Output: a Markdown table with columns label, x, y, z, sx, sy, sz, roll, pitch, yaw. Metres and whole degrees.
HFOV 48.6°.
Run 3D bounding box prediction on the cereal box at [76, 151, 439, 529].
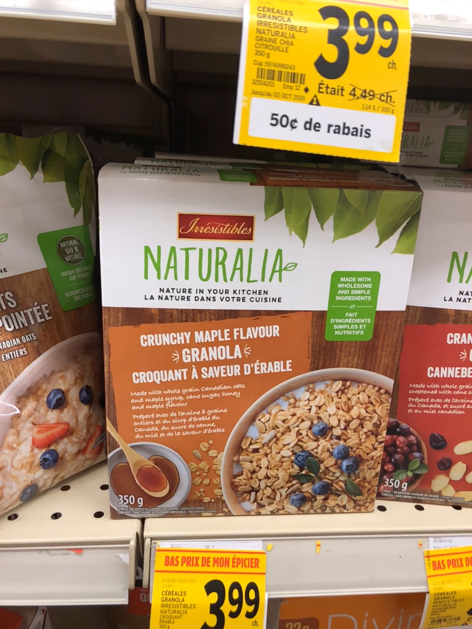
| label | x | y | z | sx | sy | sz | roll | pitch | yaw |
| --- | --- | --- | --- | --- | --- | --- | --- | --- | --- |
| cereal box | 0.005 | 0.020 | 0.302 | 0.170 | 0.209 | 0.050 | 1 | 20 | -6 |
